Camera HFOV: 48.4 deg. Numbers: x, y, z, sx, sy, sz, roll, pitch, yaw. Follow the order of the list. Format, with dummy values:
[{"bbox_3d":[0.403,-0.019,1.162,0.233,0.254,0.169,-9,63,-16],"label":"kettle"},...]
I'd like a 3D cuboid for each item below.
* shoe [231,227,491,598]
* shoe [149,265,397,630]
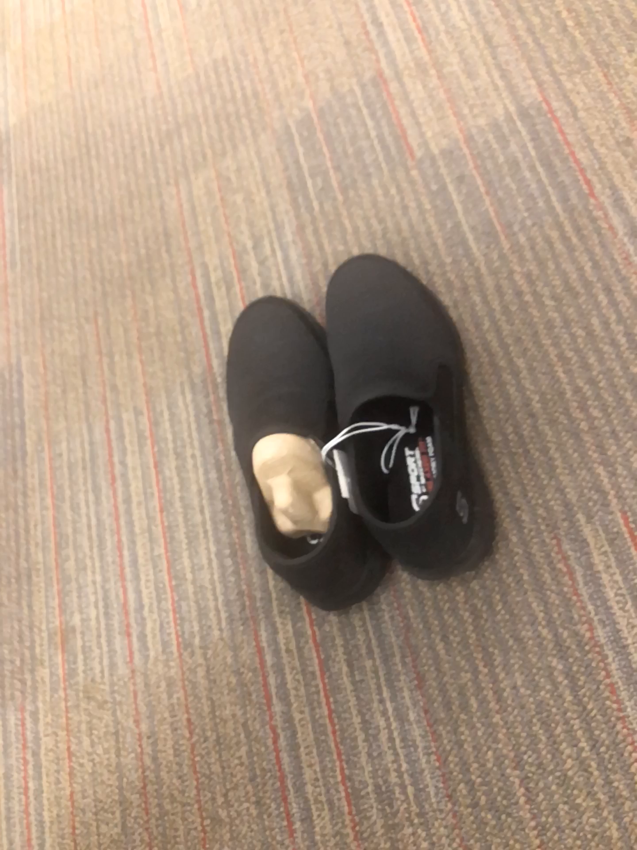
[{"bbox_3d":[0.030,-0.007,0.564,0.120,0.109,0.248,-22,64,17],"label":"shoe"},{"bbox_3d":[-0.042,0.020,0.584,0.116,0.105,0.258,-23,63,16],"label":"shoe"}]
